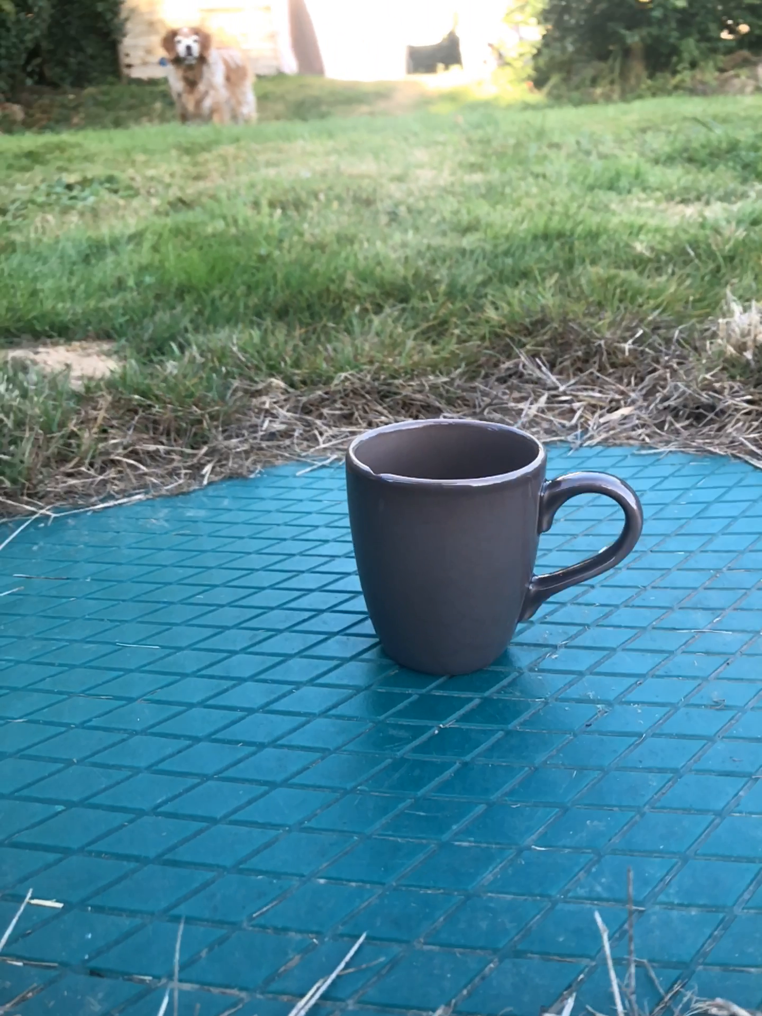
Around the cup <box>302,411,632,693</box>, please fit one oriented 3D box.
[{"bbox_3d":[0.044,0.013,0.379,0.126,0.086,0.091,4,24,17],"label":"cup"}]
